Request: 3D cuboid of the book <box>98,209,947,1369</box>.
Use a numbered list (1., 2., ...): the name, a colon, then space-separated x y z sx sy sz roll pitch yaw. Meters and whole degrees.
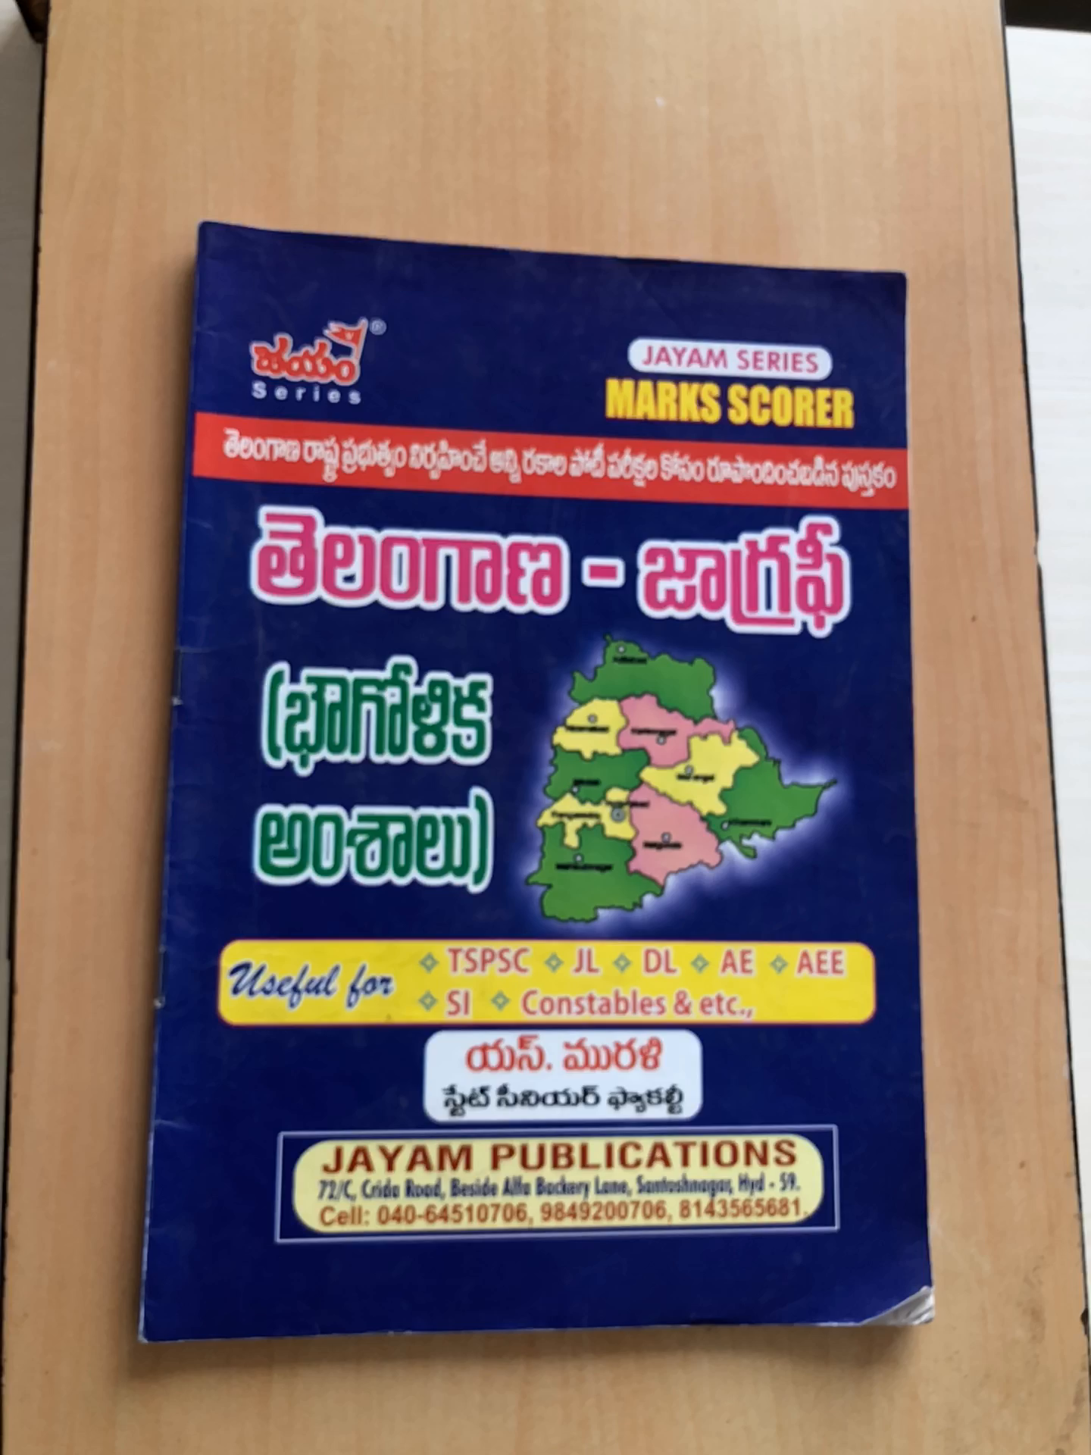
1. book: -0.001 0.012 0.326 0.200 0.040 0.280 2 82 -7
